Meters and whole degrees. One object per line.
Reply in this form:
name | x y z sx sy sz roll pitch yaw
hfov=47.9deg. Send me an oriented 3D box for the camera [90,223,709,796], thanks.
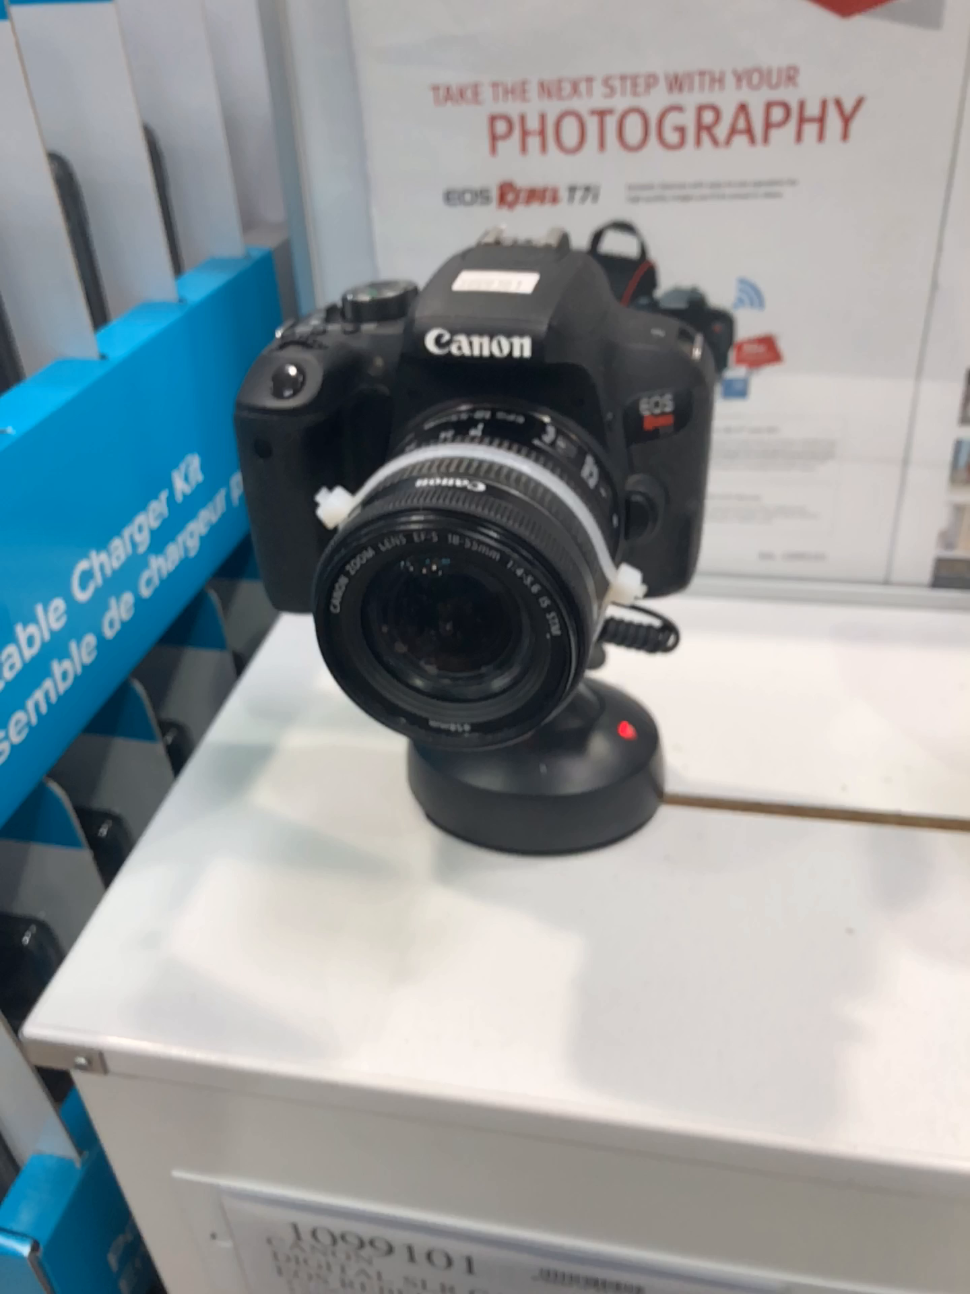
camera | -0.006 -0.050 0.313 0.130 0.100 0.151 3 34 10
